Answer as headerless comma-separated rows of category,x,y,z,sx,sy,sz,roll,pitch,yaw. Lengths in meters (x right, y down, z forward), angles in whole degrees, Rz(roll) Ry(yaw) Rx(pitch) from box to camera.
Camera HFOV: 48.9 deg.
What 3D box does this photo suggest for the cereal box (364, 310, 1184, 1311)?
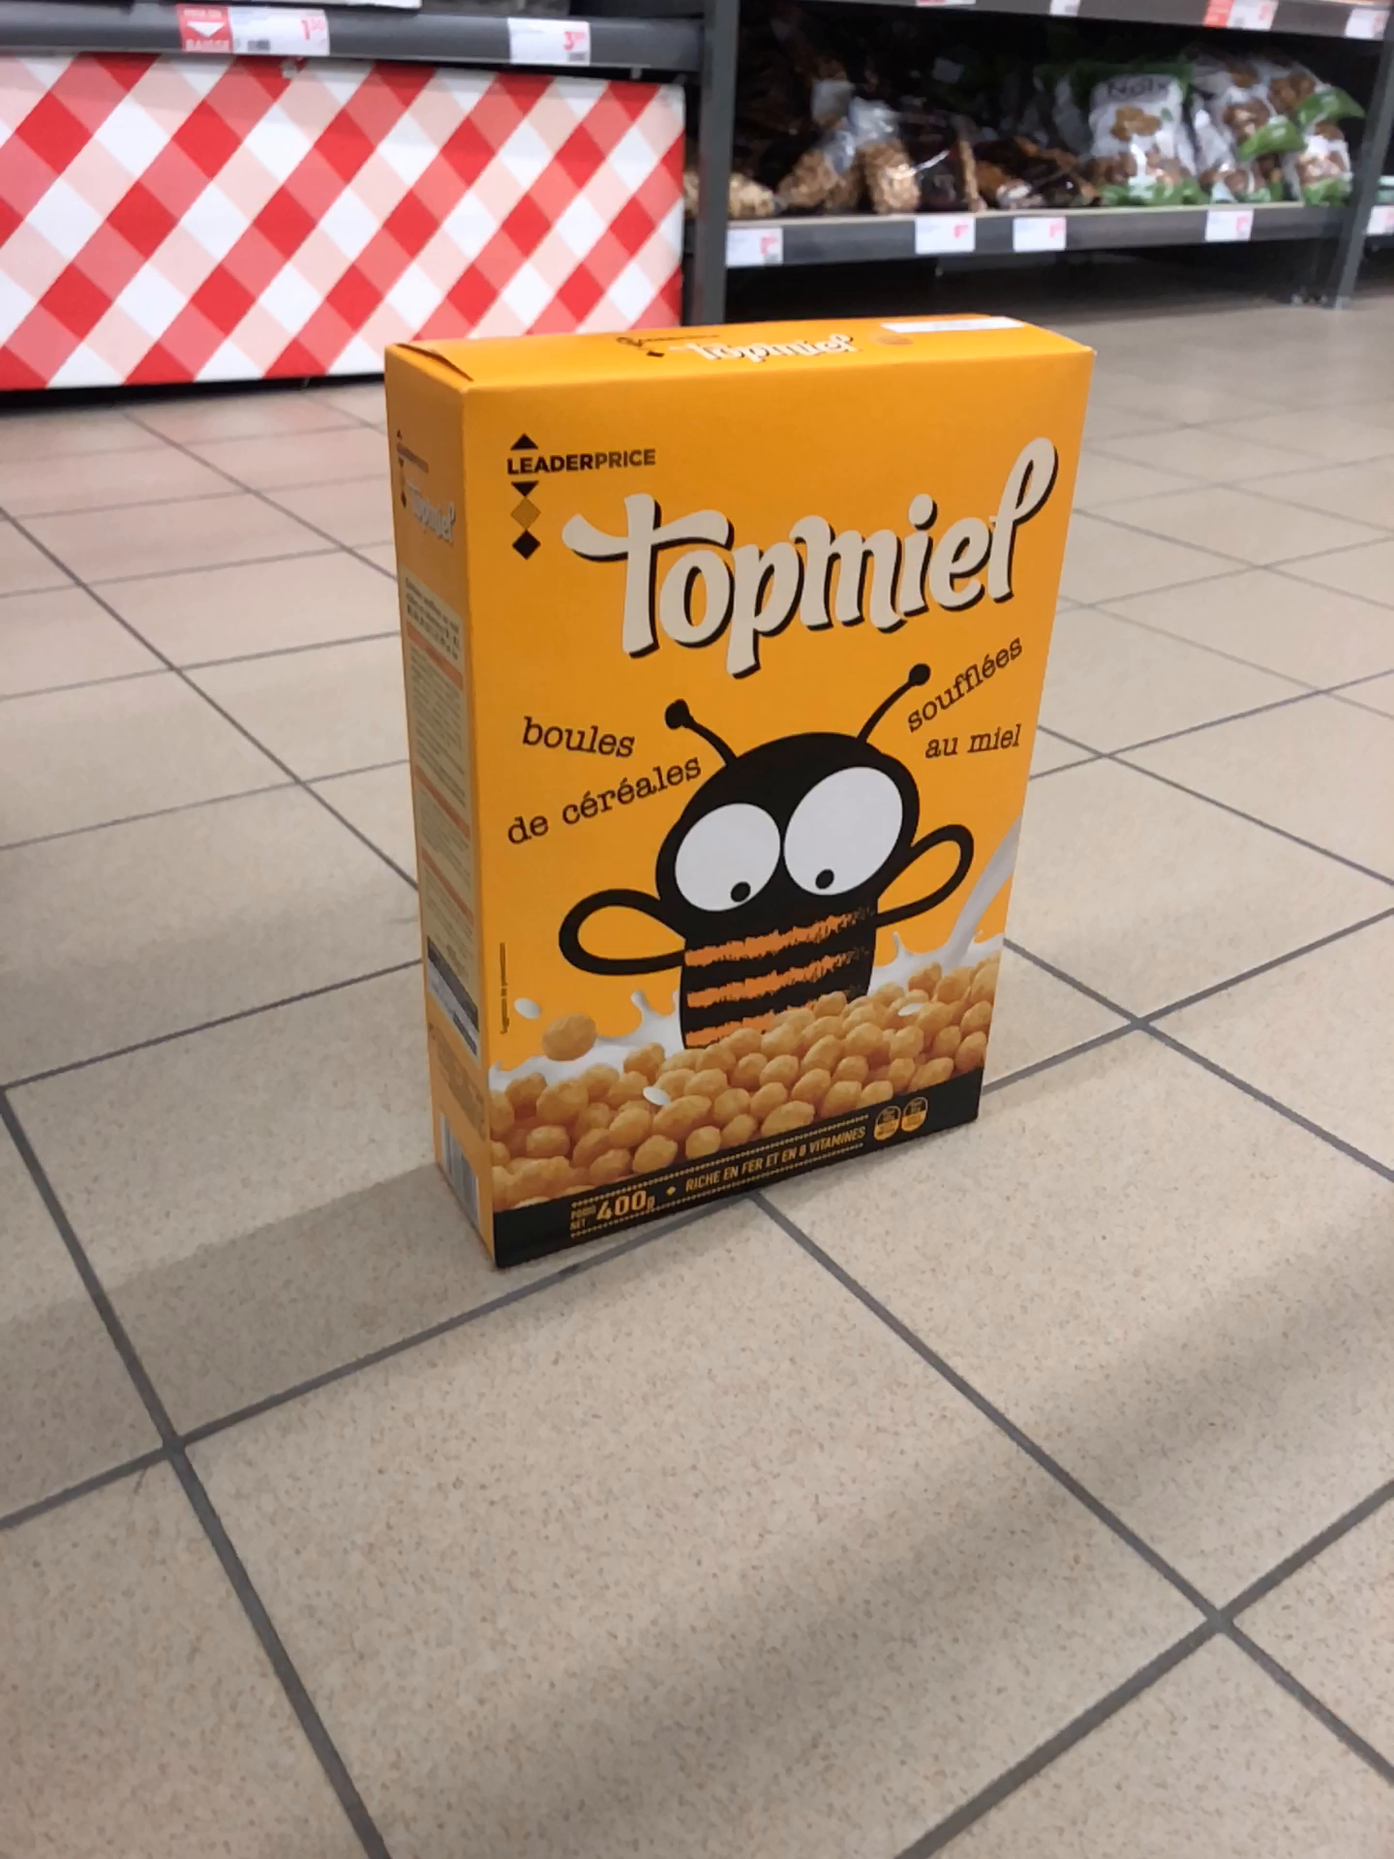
cereal box,0.021,-0.037,0.462,0.211,0.268,0.060,-12,31,-24
